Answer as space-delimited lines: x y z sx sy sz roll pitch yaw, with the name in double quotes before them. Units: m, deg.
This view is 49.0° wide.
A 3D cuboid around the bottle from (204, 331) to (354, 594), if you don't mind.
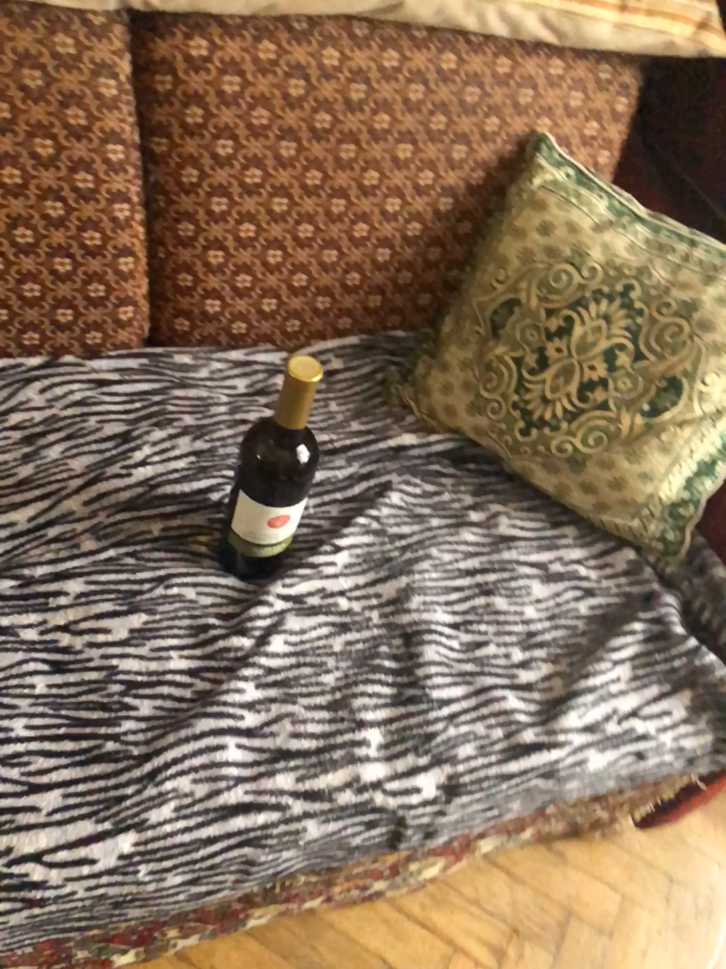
"bottle" -0.087 -0.009 0.729 0.080 0.268 0.080 8 51 -10
